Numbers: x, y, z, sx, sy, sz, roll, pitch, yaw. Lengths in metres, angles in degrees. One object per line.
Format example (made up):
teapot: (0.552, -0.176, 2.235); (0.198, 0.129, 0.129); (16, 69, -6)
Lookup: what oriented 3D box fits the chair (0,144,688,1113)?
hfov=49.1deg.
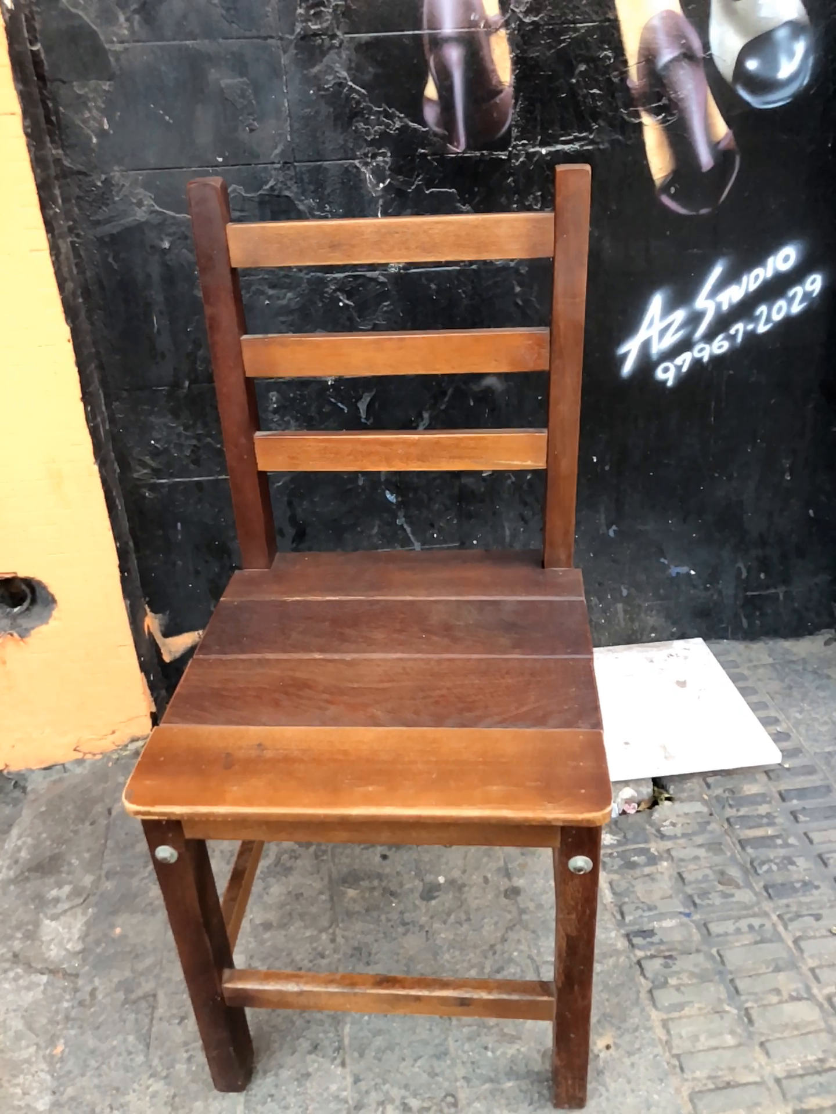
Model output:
chair: (-0.027, 0.069, 0.983); (0.460, 0.894, 0.504); (0, 27, 6)
